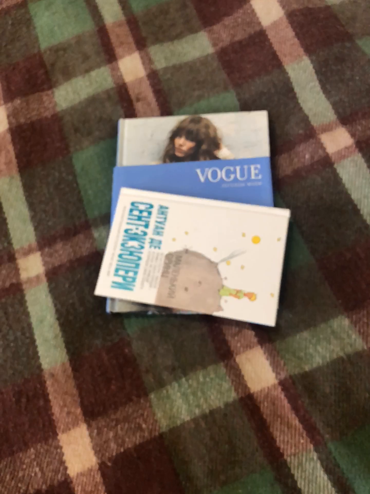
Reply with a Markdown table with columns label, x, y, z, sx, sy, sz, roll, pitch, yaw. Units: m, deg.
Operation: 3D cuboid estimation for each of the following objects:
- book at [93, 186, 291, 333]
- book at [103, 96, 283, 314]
| label | x | y | z | sx | sy | sz | roll | pitch | yaw |
| --- | --- | --- | --- | --- | --- | --- | --- | --- | --- |
| book | 0.009 | 0.008 | 0.403 | 0.170 | 0.014 | 0.119 | 8 | 72 | 8 |
| book | 0.007 | -0.051 | 0.452 | 0.174 | 0.024 | 0.240 | -2 | 71 | 5 |
